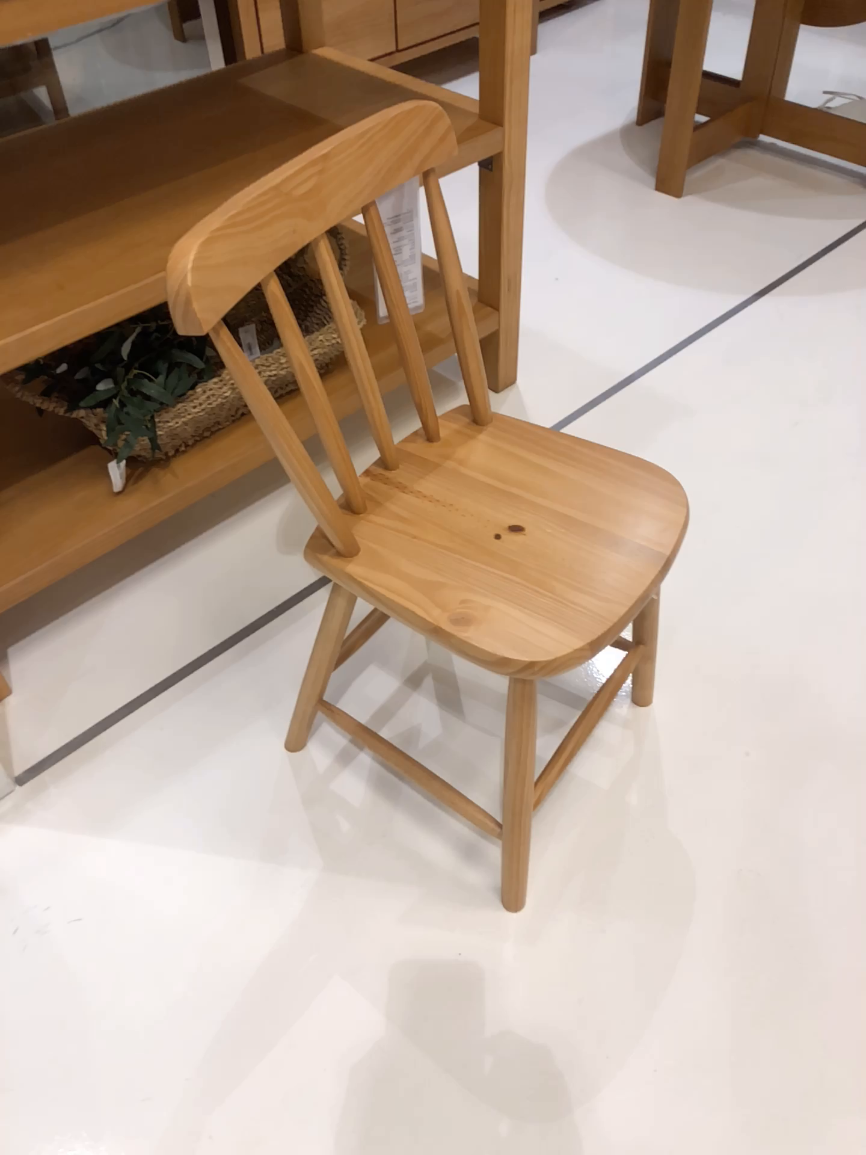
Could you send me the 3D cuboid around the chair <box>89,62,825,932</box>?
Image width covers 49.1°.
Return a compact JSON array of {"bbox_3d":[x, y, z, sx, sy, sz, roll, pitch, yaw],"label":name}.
[{"bbox_3d":[0.040,-0.062,1.055,0.451,0.755,0.422,25,52,24],"label":"chair"}]
